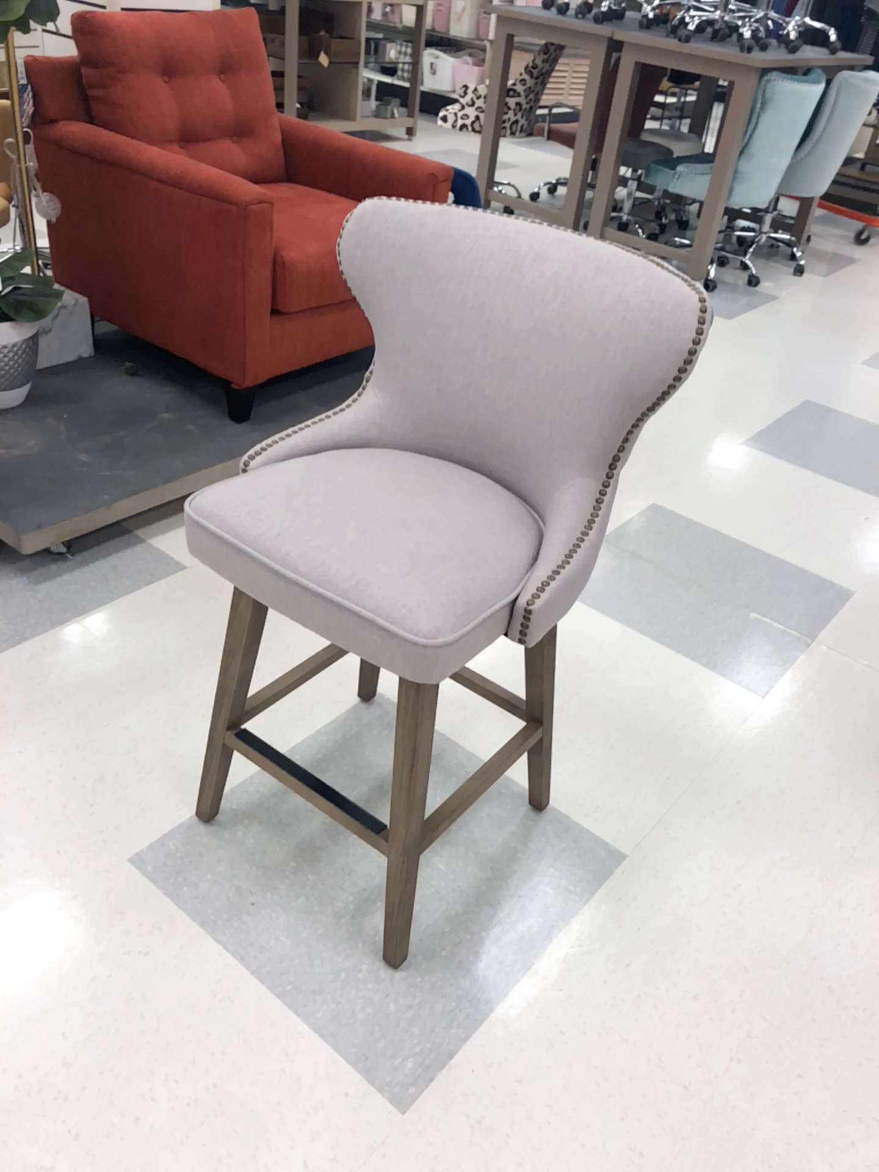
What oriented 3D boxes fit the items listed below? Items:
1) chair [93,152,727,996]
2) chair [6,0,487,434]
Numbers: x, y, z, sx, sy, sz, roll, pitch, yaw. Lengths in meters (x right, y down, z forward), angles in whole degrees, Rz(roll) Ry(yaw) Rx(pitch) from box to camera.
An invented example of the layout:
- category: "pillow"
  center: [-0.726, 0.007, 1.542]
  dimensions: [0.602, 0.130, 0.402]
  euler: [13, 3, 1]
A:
- category: "chair"
  center: [-0.082, -0.032, 1.440]
  dimensions: [0.609, 0.999, 0.479]
  euler: [27, 38, 27]
- category: "chair"
  center: [-0.587, -1.210, 2.987]
  dimensions: [0.998, 0.969, 0.913]
  euler: [30, 39, 30]
